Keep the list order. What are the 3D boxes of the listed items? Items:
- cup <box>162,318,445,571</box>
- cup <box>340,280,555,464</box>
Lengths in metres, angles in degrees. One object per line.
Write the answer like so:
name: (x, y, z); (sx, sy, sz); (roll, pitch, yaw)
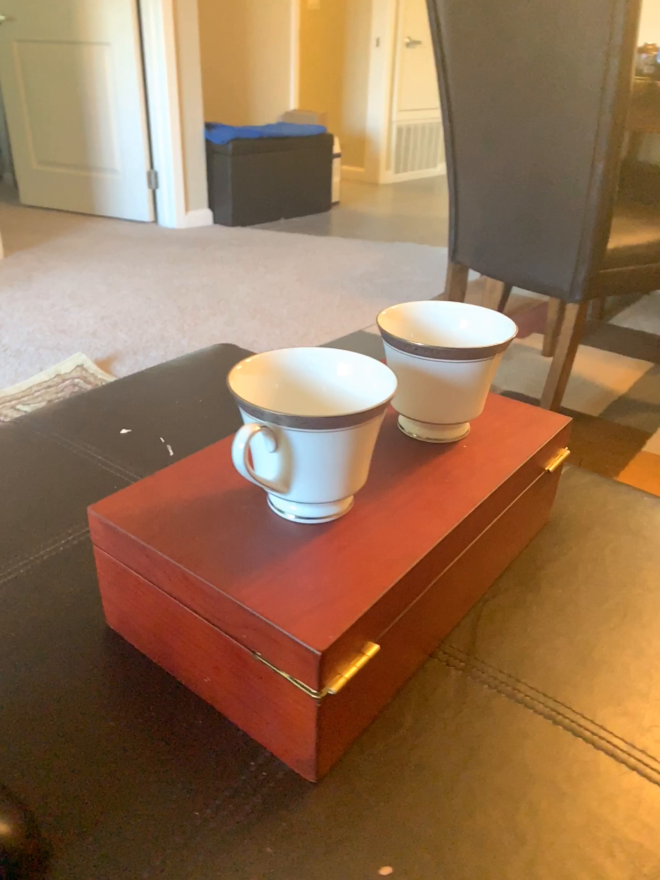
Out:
cup: (-0.011, -0.006, 0.354); (0.090, 0.070, 0.110); (23, 36, 33)
cup: (0.077, -0.051, 0.450); (0.090, 0.070, 0.110); (23, 35, 33)
